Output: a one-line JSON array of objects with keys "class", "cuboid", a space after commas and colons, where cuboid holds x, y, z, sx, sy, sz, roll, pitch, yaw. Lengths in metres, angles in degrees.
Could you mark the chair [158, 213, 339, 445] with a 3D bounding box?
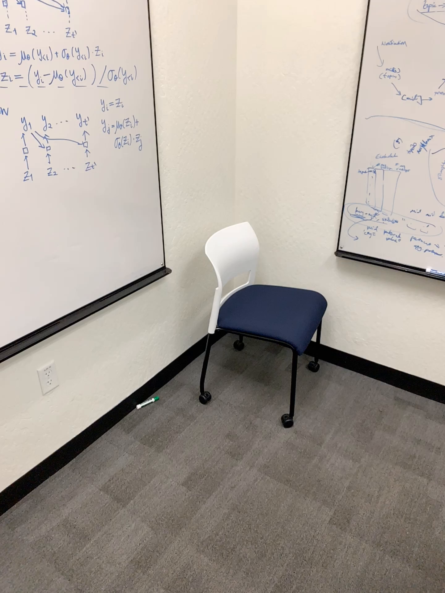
[{"class": "chair", "cuboid": [0.154, 0.115, 2.355, 0.641, 0.835, 0.703, 12, 30, 22]}]
